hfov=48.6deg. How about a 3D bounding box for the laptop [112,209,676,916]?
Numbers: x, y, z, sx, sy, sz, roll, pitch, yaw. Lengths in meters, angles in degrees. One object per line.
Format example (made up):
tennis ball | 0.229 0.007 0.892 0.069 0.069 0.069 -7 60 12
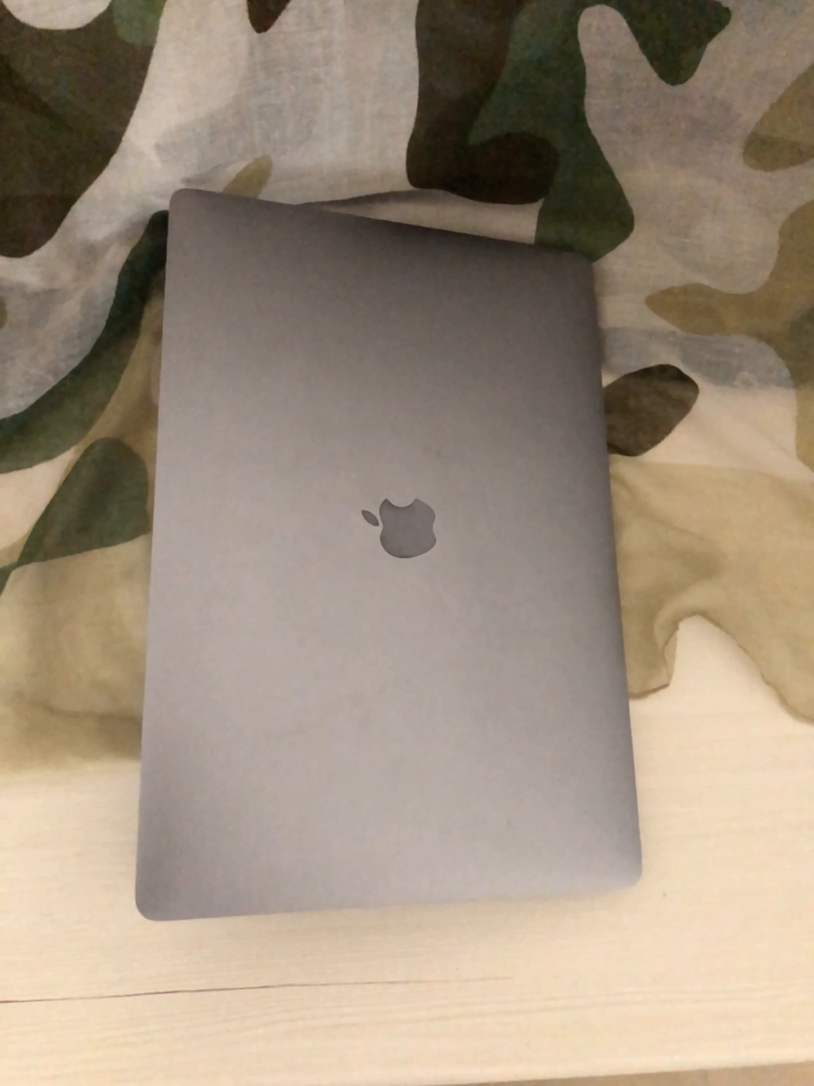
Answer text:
laptop | -0.006 -0.002 0.452 0.236 0.059 0.339 0 74 -3
